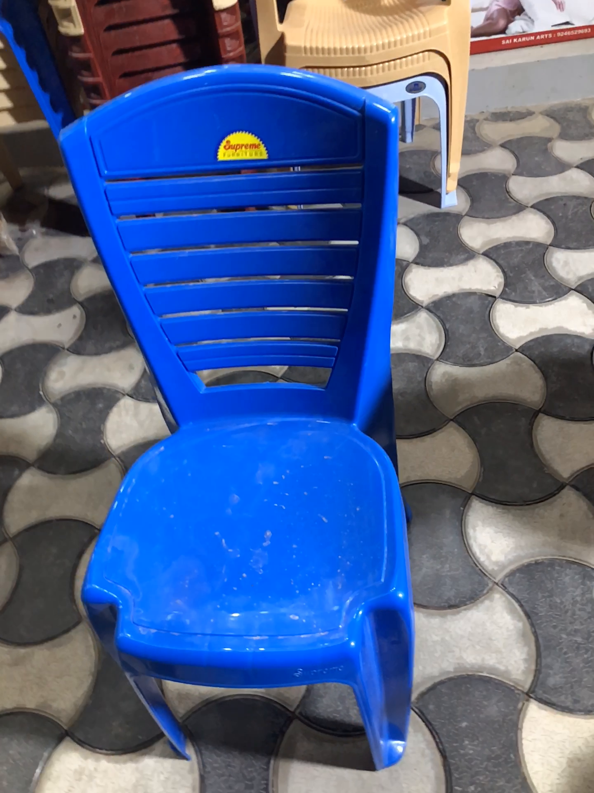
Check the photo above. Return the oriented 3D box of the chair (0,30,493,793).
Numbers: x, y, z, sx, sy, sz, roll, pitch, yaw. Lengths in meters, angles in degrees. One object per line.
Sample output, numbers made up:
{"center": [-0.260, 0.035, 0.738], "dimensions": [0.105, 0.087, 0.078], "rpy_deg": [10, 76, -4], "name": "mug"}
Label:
{"center": [-0.083, 0.084, 0.747], "dimensions": [0.470, 0.725, 0.513], "rpy_deg": [0, 46, 9], "name": "chair"}
